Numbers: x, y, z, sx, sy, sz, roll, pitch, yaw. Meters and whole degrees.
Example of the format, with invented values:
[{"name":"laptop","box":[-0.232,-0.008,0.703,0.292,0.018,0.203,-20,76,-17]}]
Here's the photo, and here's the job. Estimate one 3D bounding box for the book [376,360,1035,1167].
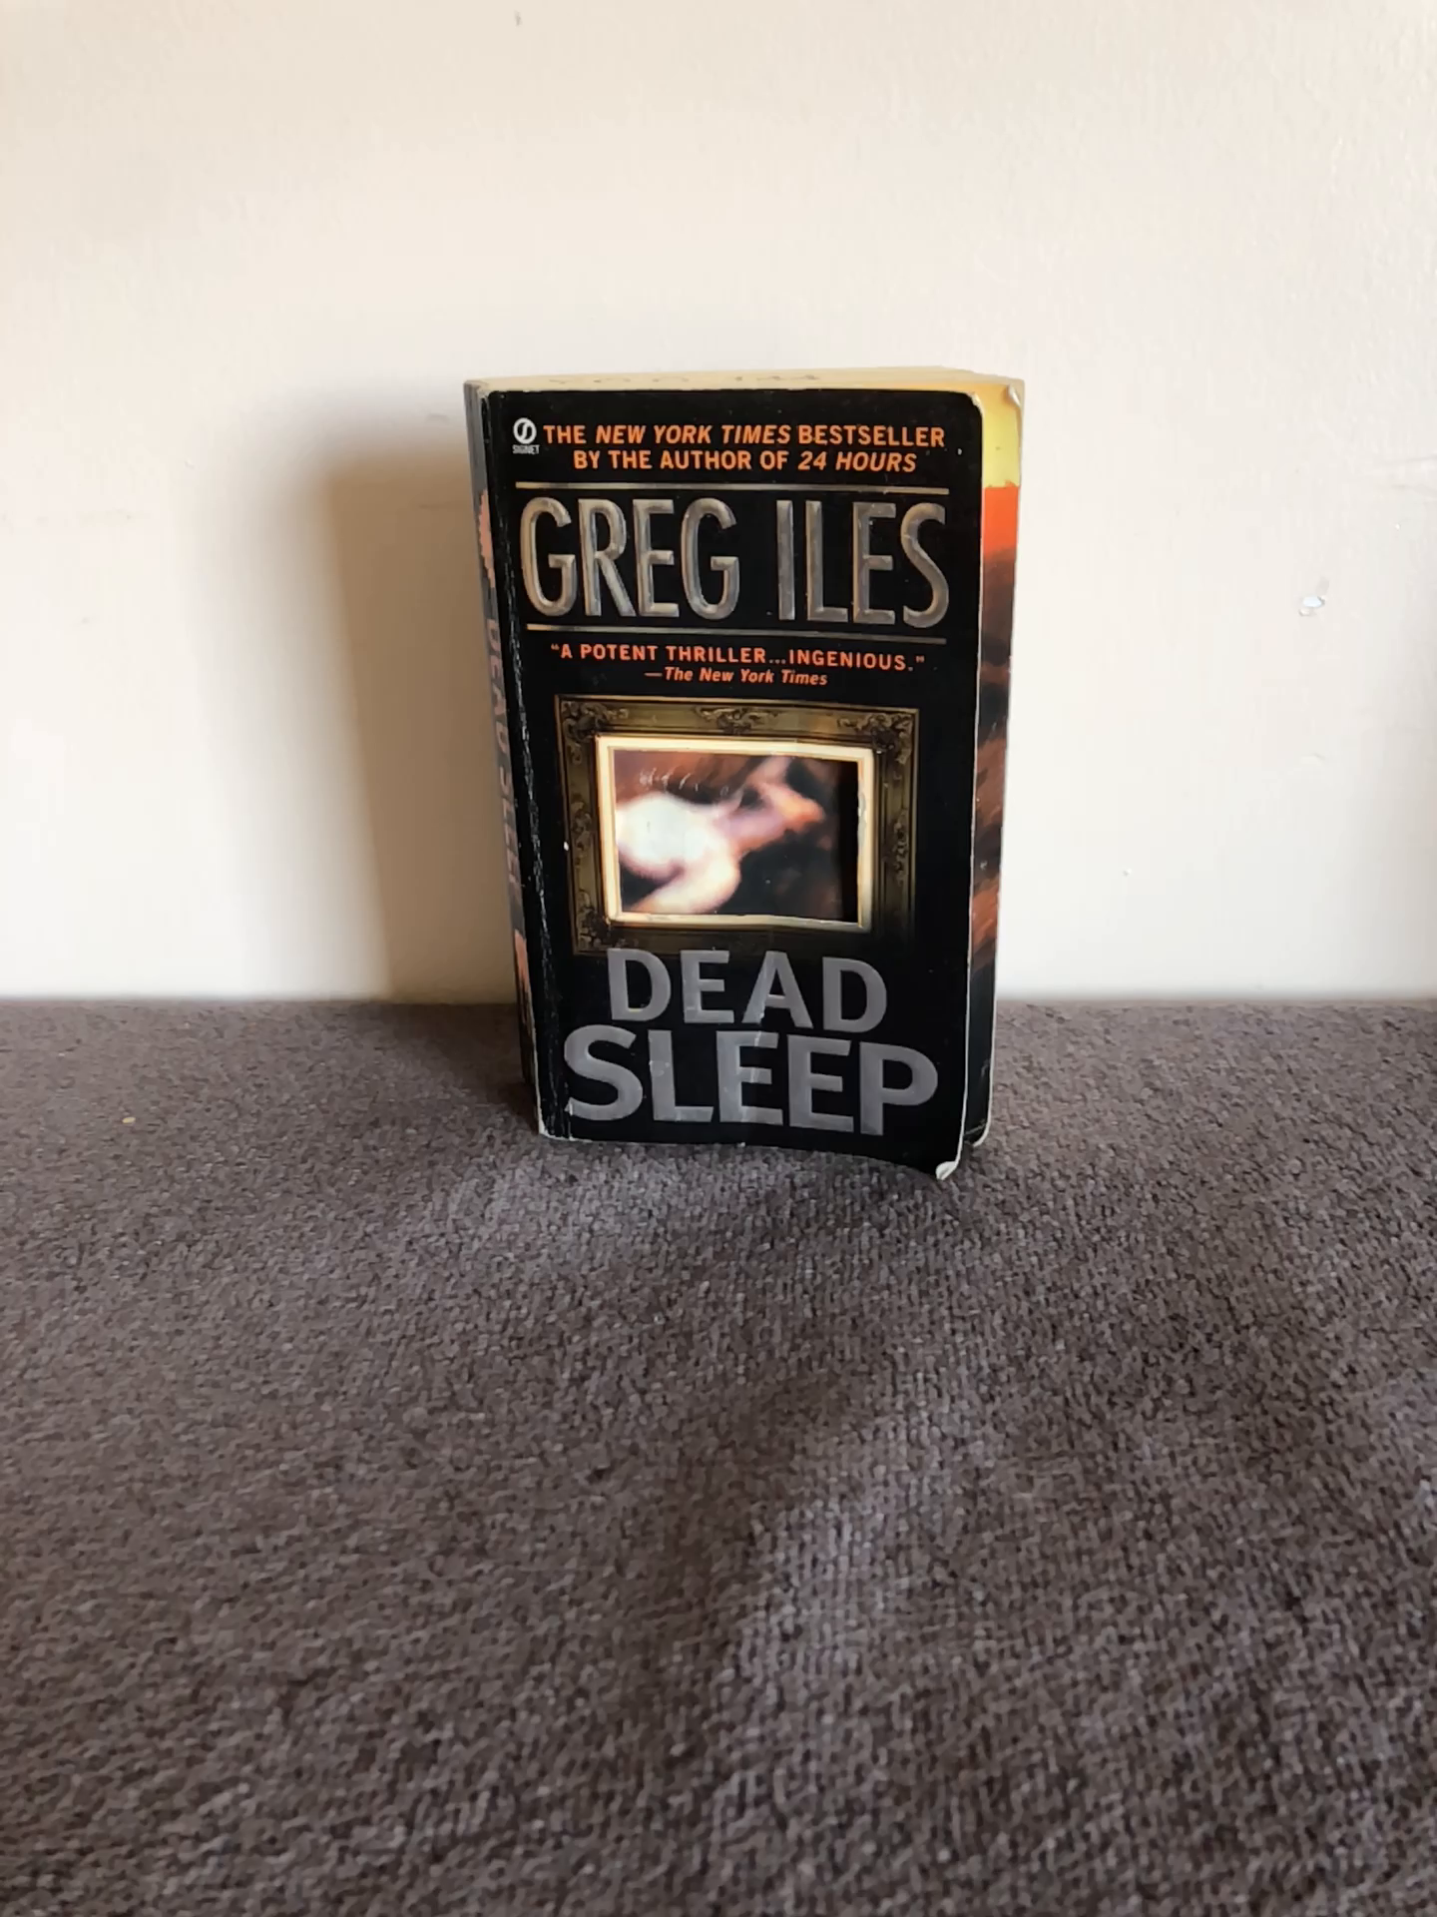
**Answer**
[{"name":"book","box":[0.003,-0.042,0.354,0.123,0.163,0.061,1,24,7]}]
